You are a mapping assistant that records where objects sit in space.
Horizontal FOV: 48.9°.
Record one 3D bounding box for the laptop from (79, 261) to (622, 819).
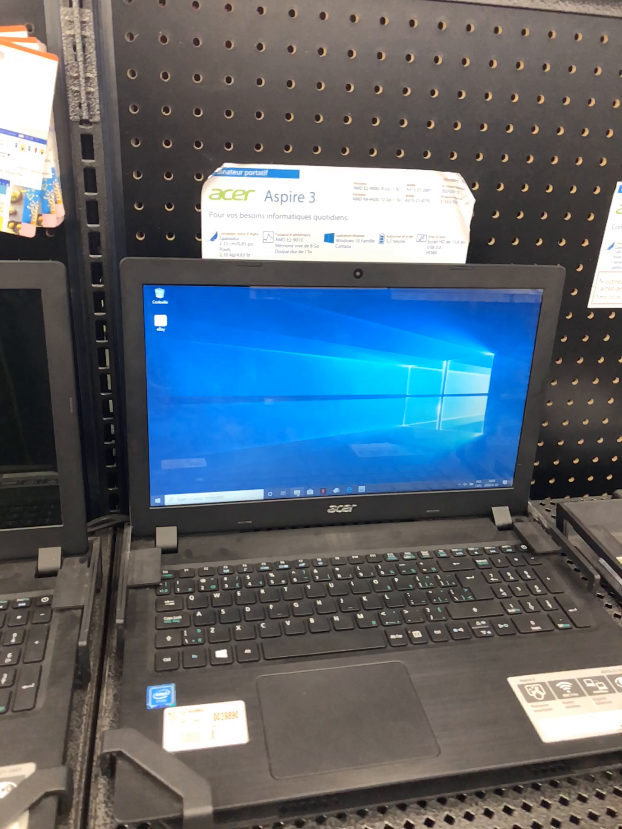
[{"bbox_3d":[0.058,0.047,0.506,0.386,0.247,0.296,-2,25,-11],"label":"laptop"}]
